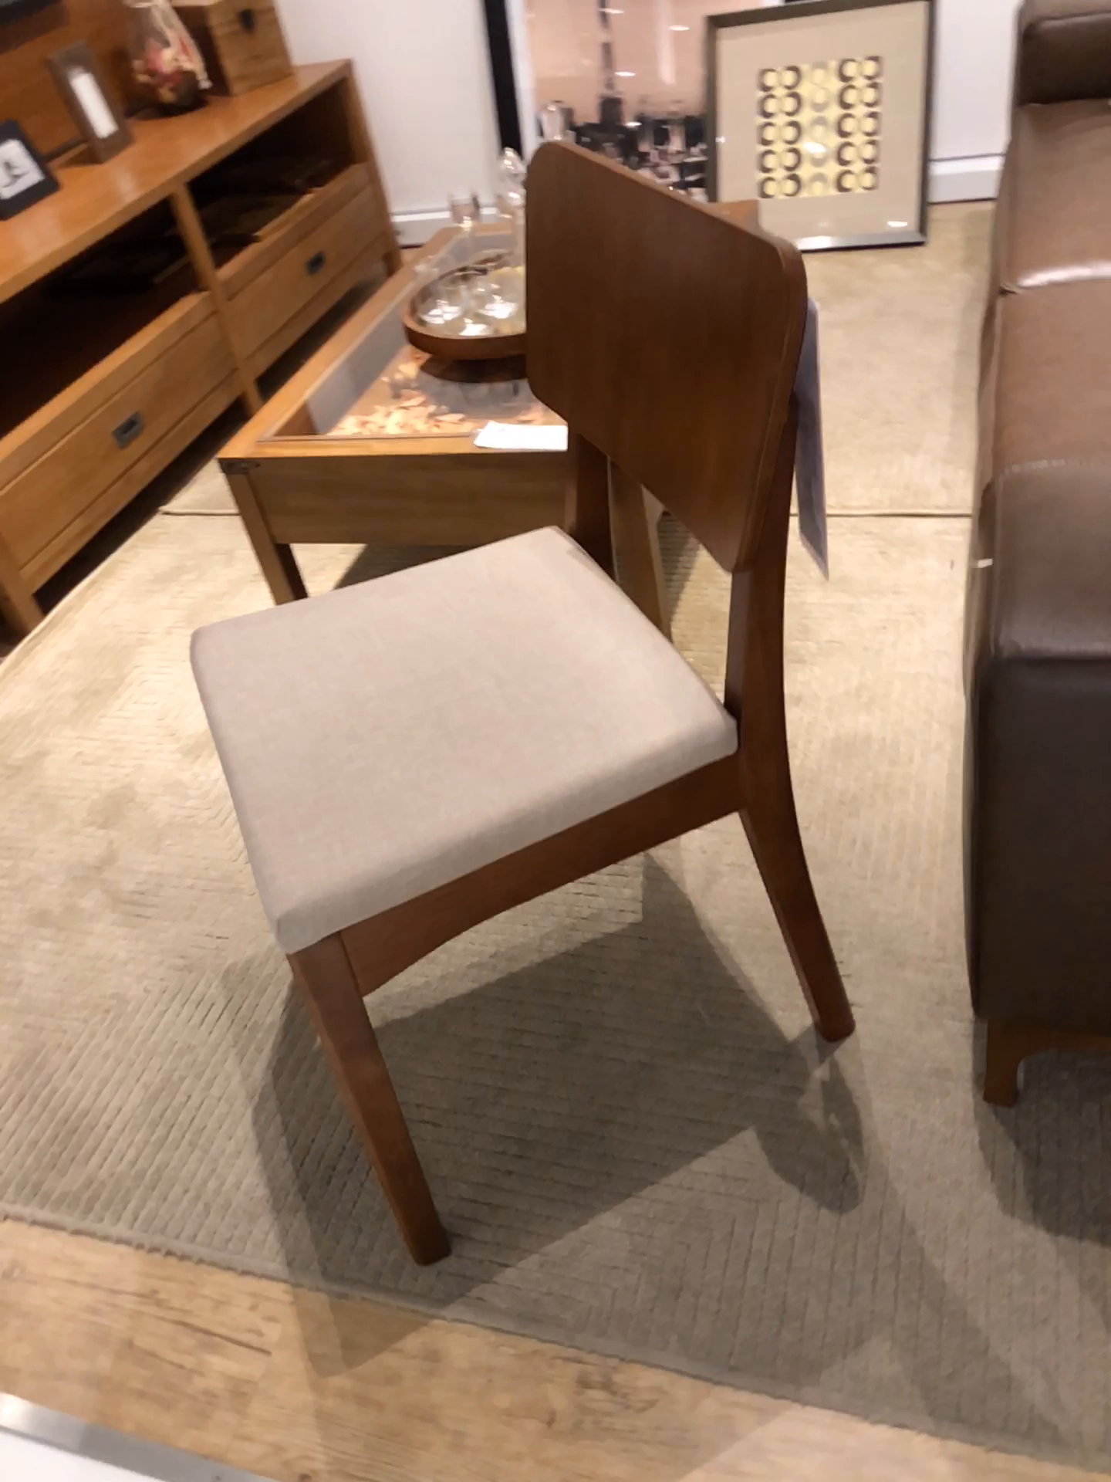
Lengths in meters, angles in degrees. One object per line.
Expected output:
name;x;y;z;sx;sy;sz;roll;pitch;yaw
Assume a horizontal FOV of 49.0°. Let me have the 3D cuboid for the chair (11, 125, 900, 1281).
chair;-0.056;-0.032;1.134;0.530;0.794;0.514;-21;40;-10
